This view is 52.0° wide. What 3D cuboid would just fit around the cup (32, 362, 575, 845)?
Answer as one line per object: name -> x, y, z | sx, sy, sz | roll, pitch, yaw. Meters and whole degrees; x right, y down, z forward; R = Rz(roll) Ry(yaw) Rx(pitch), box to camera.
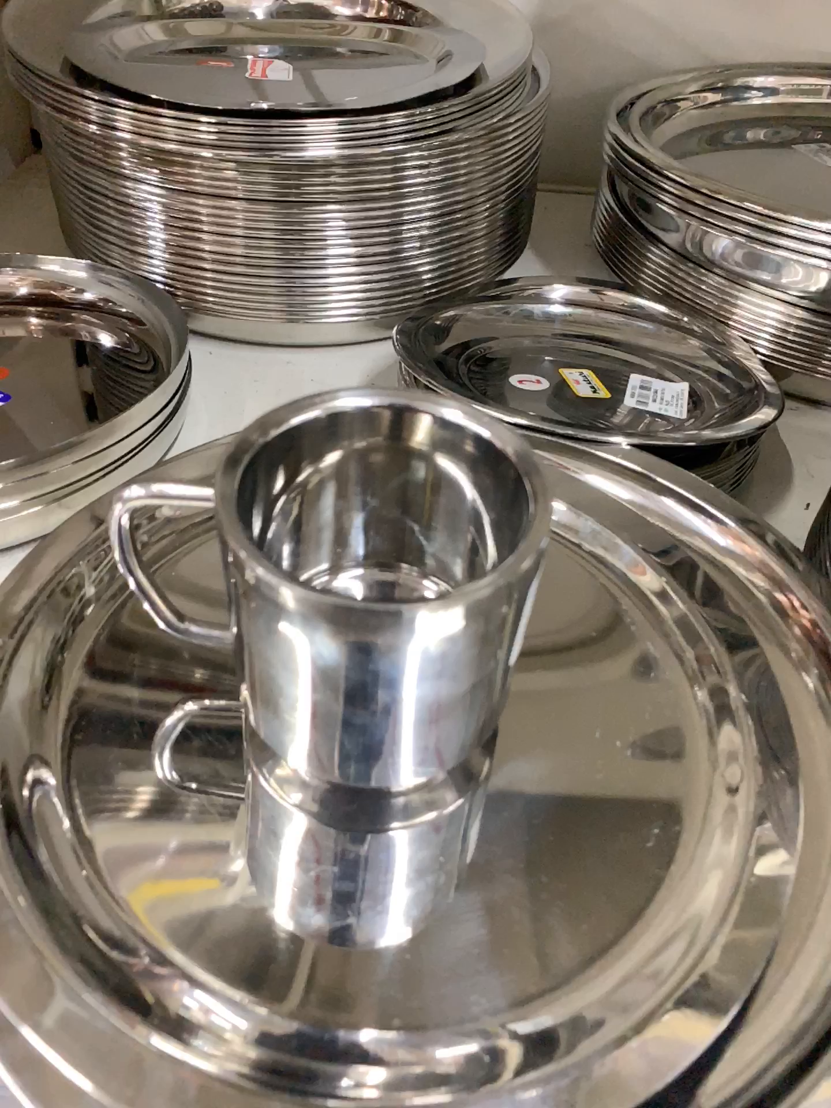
cup -> -0.017, 0.010, 0.189 | 0.090, 0.070, 0.070 | 5, 44, 2
